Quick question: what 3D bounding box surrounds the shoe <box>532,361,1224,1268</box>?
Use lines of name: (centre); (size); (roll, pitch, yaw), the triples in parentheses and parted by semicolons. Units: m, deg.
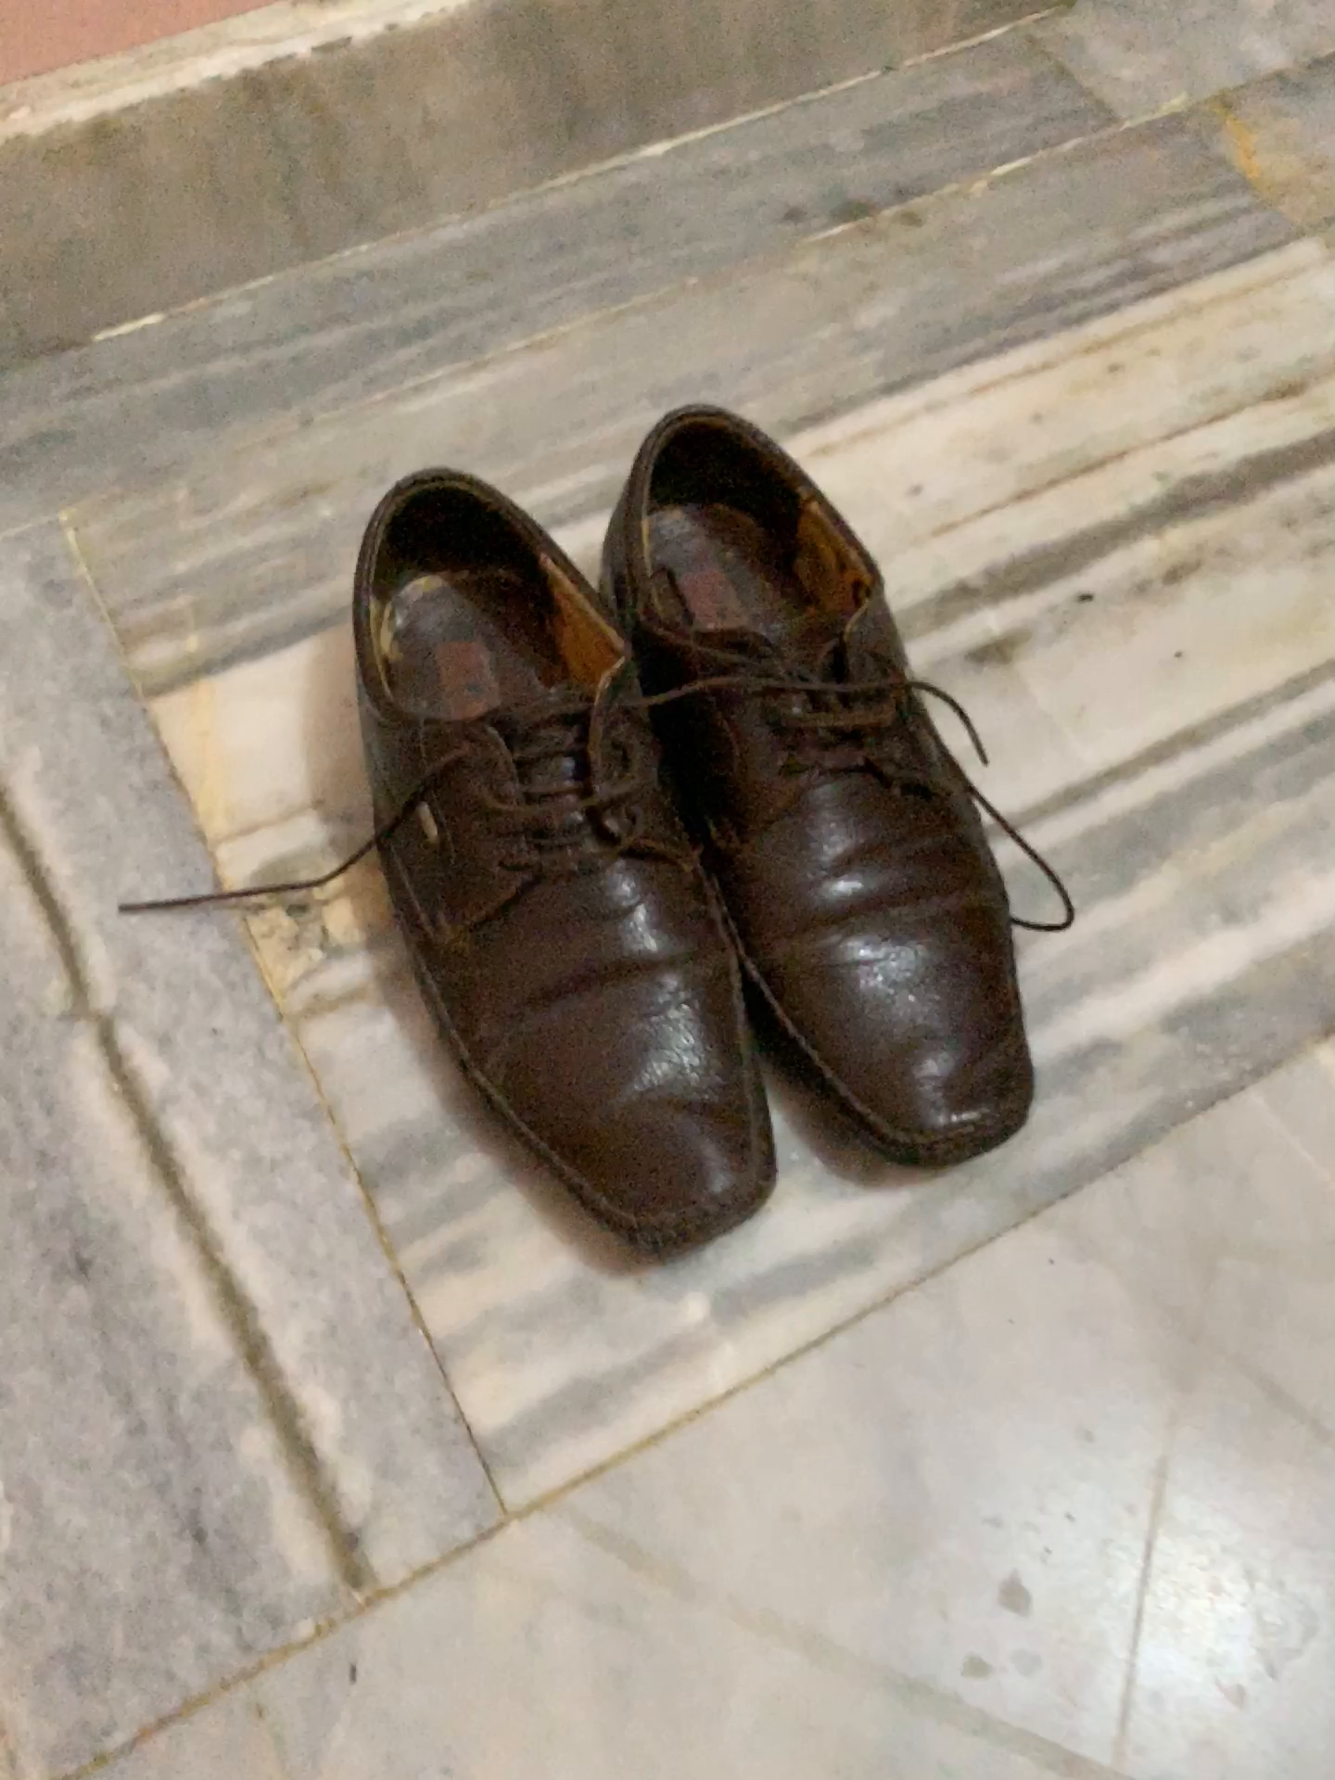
shoe: (0.051, -0.034, 0.473); (0.100, 0.110, 0.283); (-19, 63, -11)

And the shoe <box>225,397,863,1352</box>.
shoe: (-0.050, -0.014, 0.452); (0.100, 0.110, 0.283); (-19, 63, -11)
